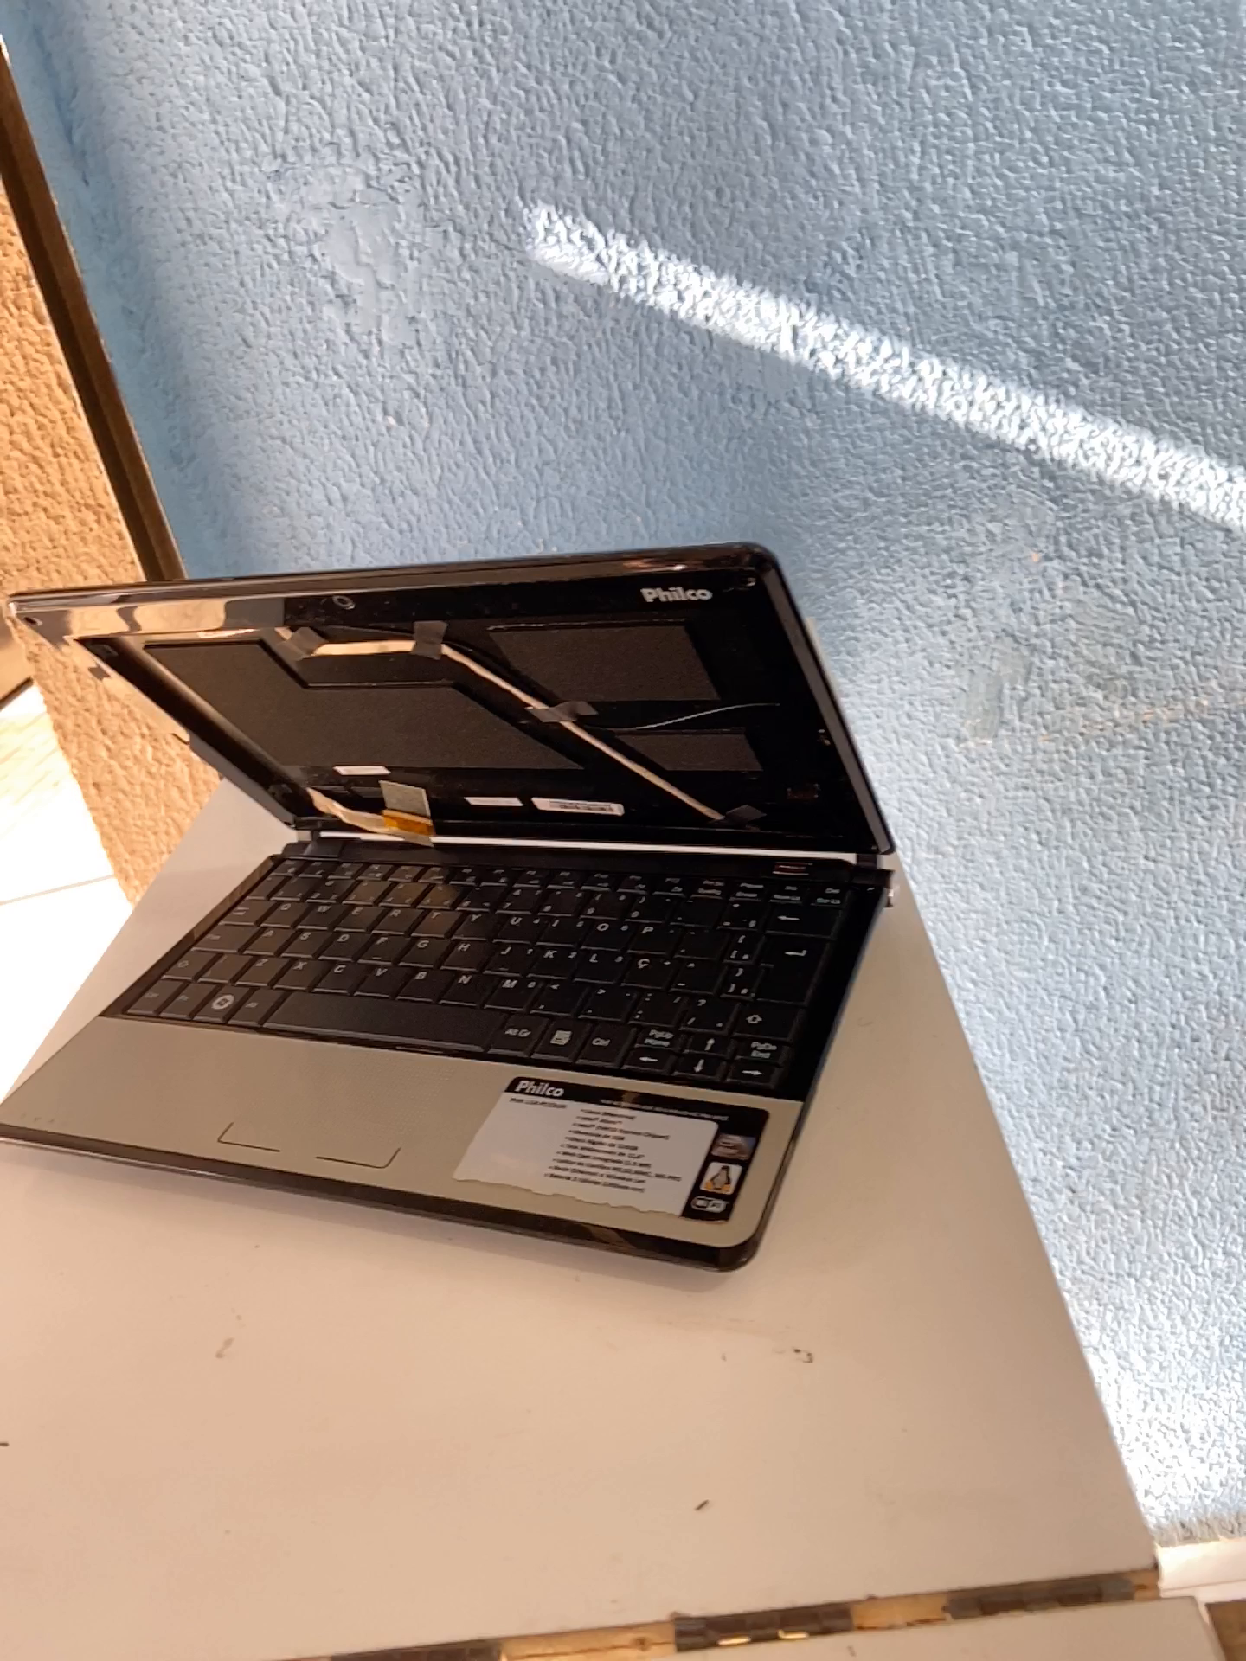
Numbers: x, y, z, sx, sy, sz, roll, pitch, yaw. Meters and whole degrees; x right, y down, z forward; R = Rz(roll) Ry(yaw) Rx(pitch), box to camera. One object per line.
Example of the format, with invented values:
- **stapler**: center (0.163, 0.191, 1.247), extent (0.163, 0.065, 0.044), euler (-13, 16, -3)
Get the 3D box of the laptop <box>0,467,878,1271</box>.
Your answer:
- **laptop**: center (-0.078, -0.003, 0.420), extent (0.275, 0.144, 0.177), euler (1, 31, 25)
